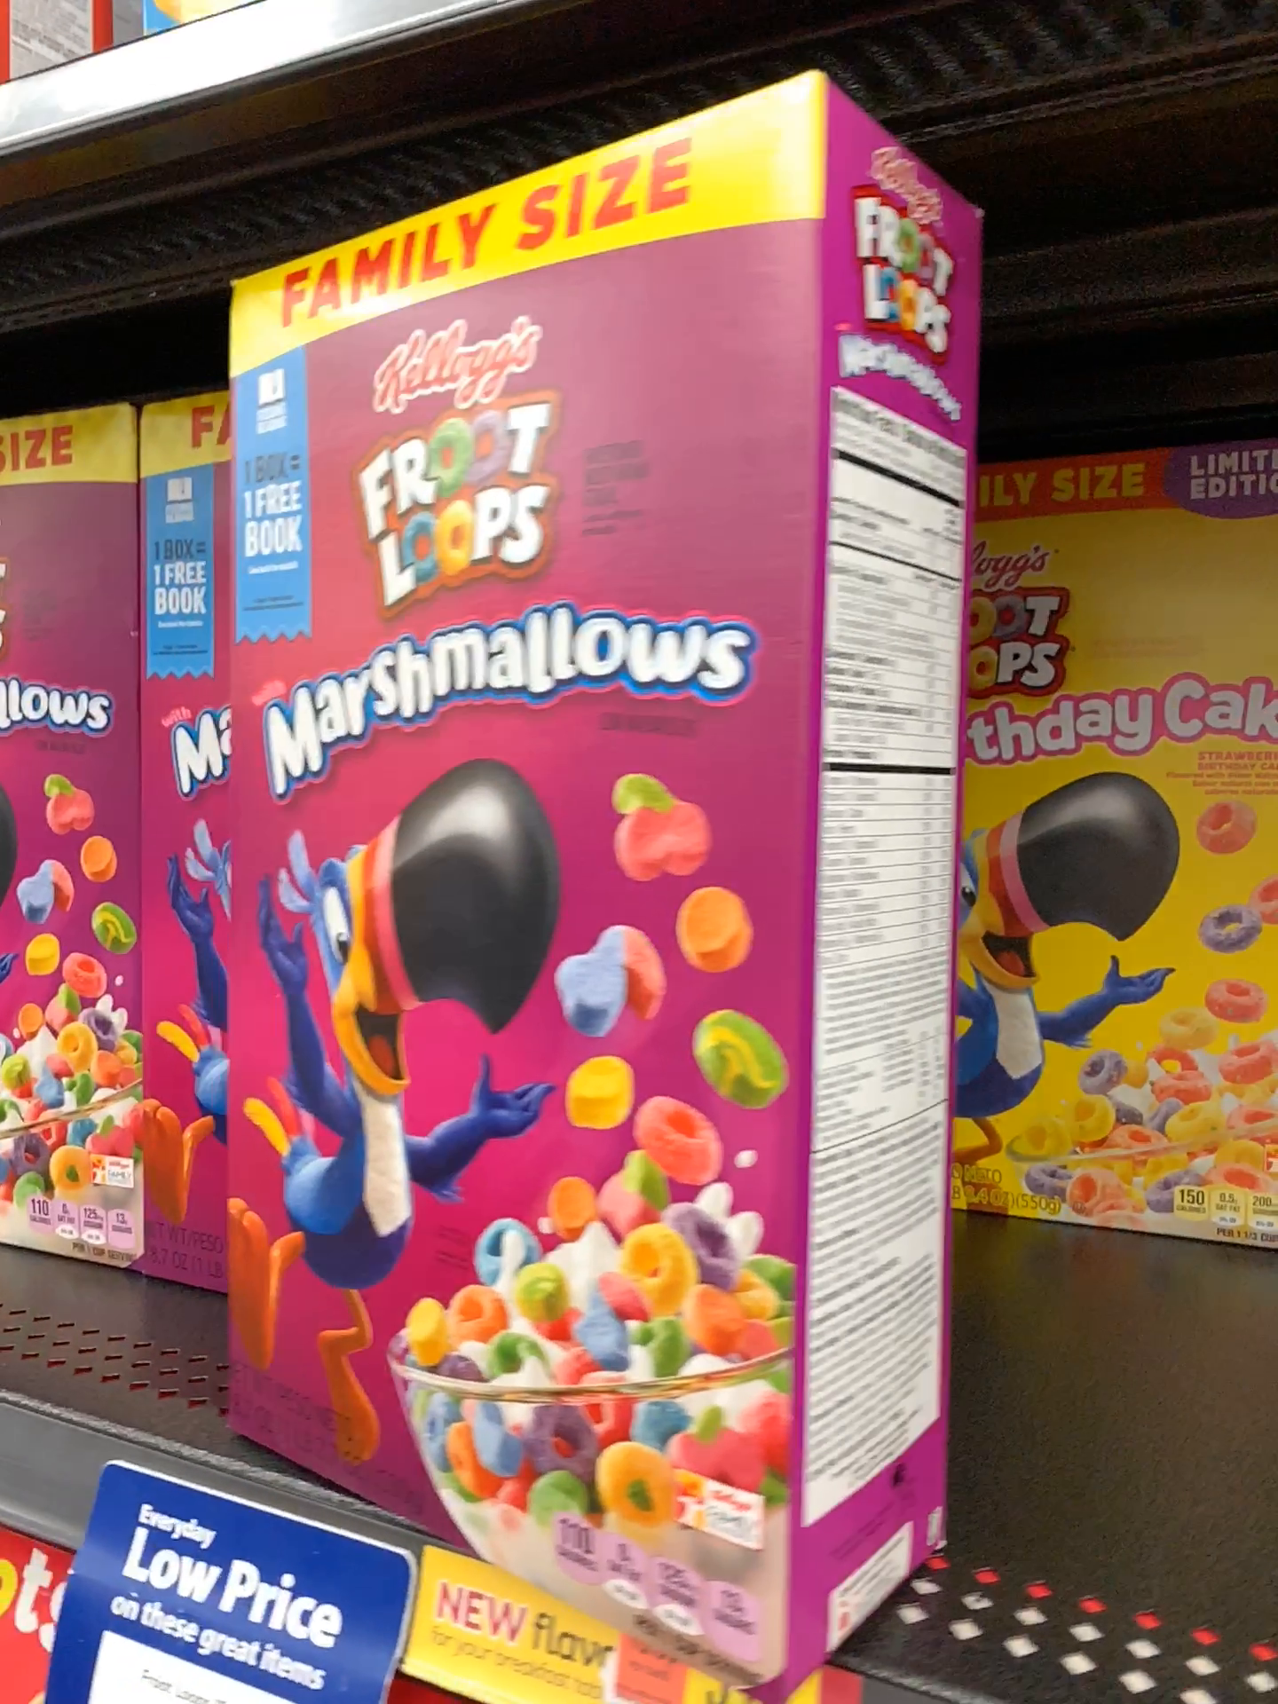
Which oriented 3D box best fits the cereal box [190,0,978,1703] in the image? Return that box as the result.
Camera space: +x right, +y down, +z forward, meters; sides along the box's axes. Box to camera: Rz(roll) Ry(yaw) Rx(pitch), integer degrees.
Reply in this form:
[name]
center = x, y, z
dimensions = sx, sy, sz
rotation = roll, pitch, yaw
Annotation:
[cereal box]
center = -0.026, -0.001, 0.350
dimensions = 0.200, 0.340, 0.080
rotation = 3, 3, 38
